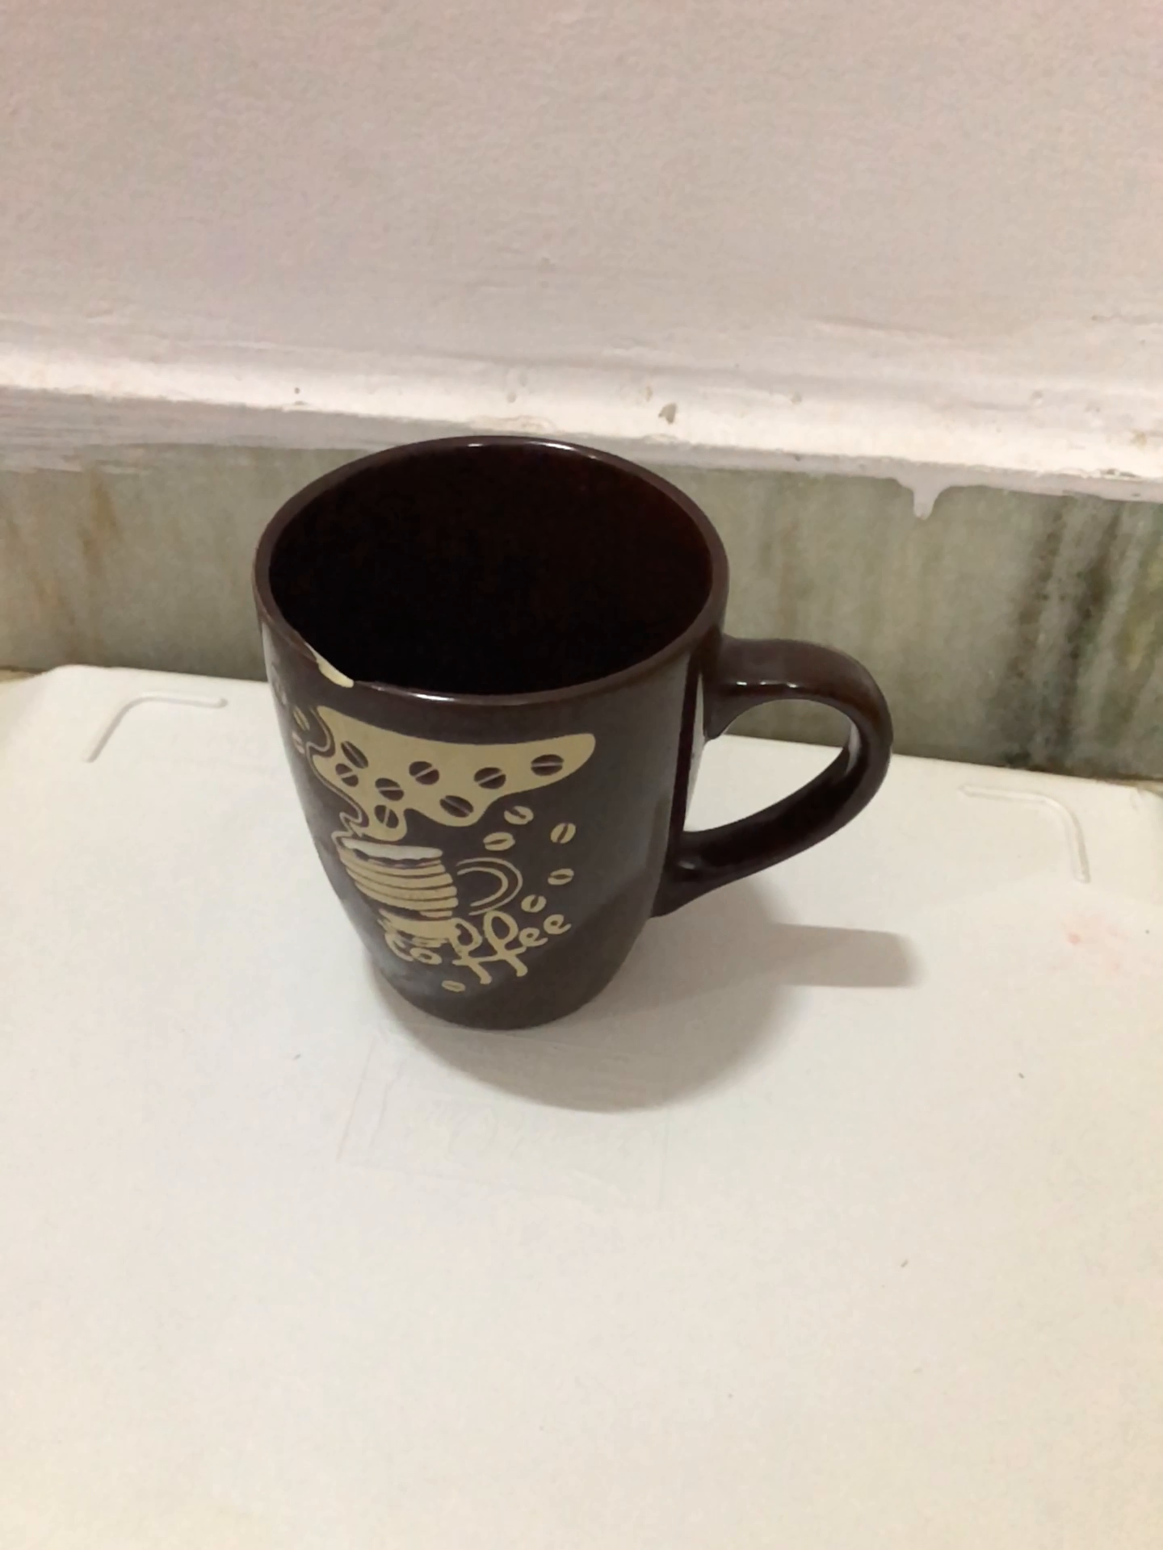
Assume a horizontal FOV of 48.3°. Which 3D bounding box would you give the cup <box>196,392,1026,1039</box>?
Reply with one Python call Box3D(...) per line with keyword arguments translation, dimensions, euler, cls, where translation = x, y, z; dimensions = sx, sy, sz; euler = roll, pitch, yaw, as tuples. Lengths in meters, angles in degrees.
Box3D(translation=(0.003, -0.010, 0.246), dimensions=(0.120, 0.099, 0.070), euler=(0, 42, -3), cls="cup")
